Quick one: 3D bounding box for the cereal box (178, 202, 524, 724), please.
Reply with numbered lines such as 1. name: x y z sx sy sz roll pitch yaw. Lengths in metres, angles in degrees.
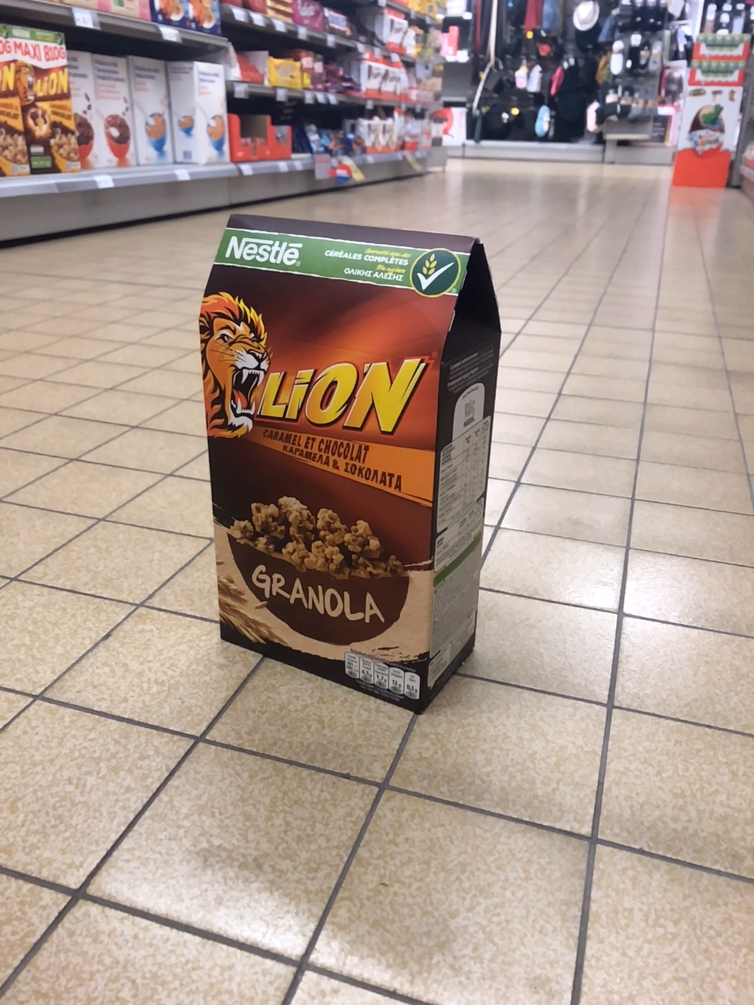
1. cereal box: -0.016 -0.027 0.456 0.150 0.249 0.080 14 27 27
